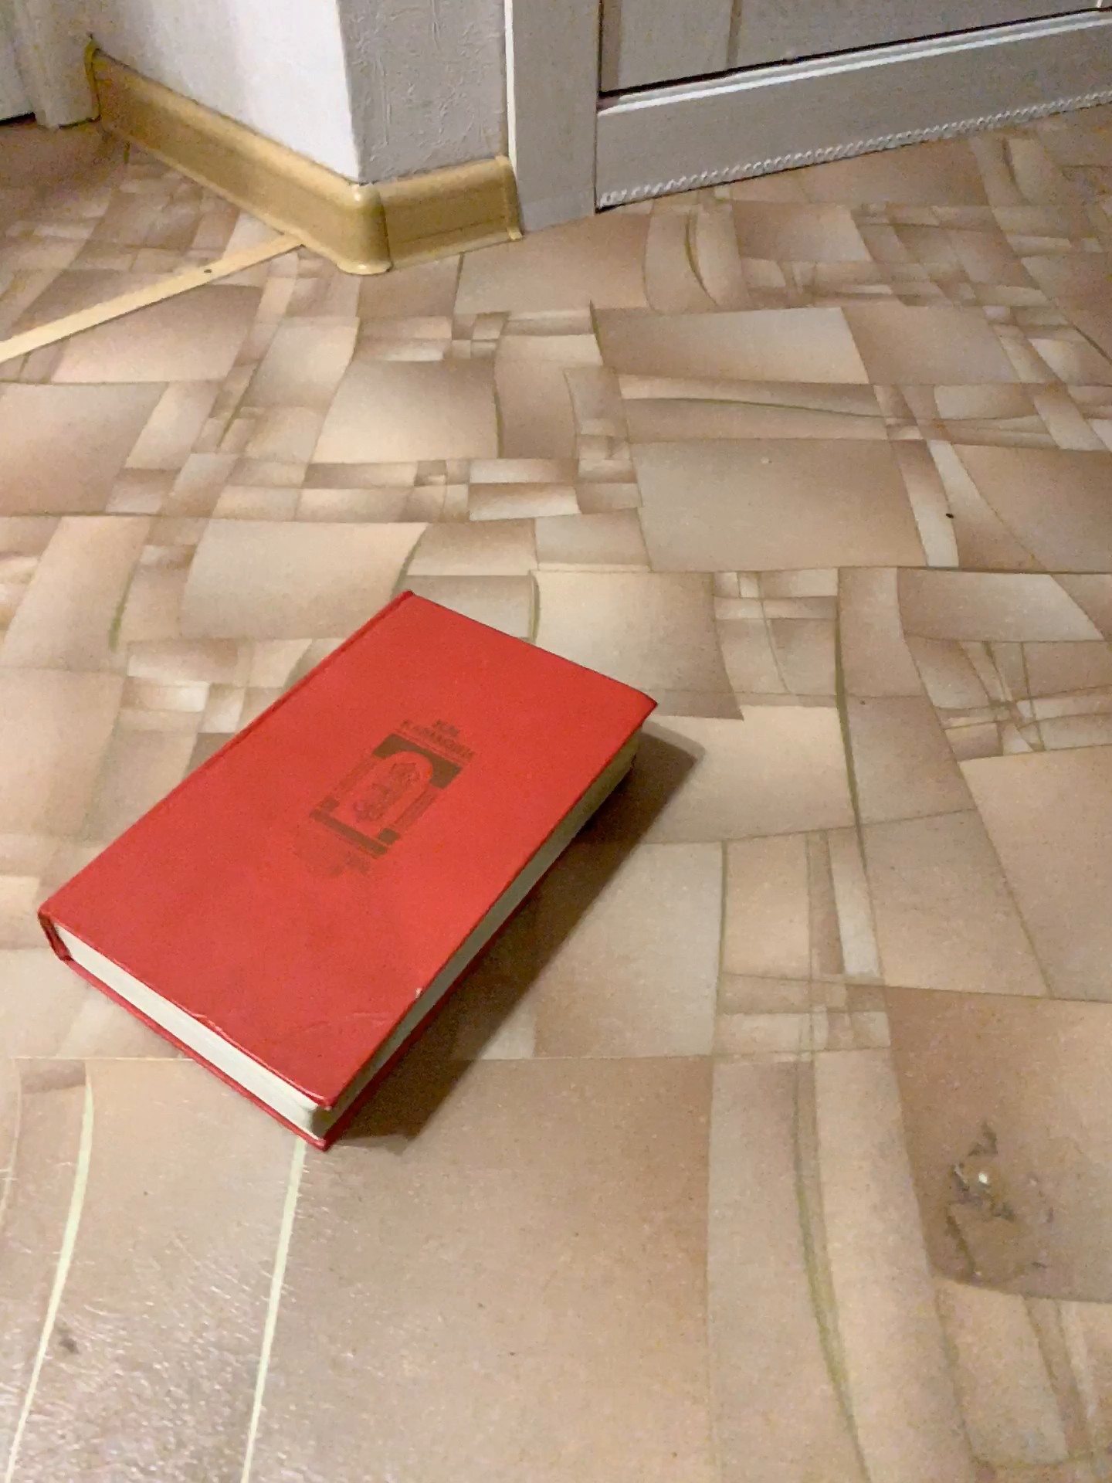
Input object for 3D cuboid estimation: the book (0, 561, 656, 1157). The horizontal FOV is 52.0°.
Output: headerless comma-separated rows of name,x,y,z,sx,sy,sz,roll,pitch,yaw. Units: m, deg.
book,-0.075,0.026,0.428,0.140,0.050,0.201,24,52,26
